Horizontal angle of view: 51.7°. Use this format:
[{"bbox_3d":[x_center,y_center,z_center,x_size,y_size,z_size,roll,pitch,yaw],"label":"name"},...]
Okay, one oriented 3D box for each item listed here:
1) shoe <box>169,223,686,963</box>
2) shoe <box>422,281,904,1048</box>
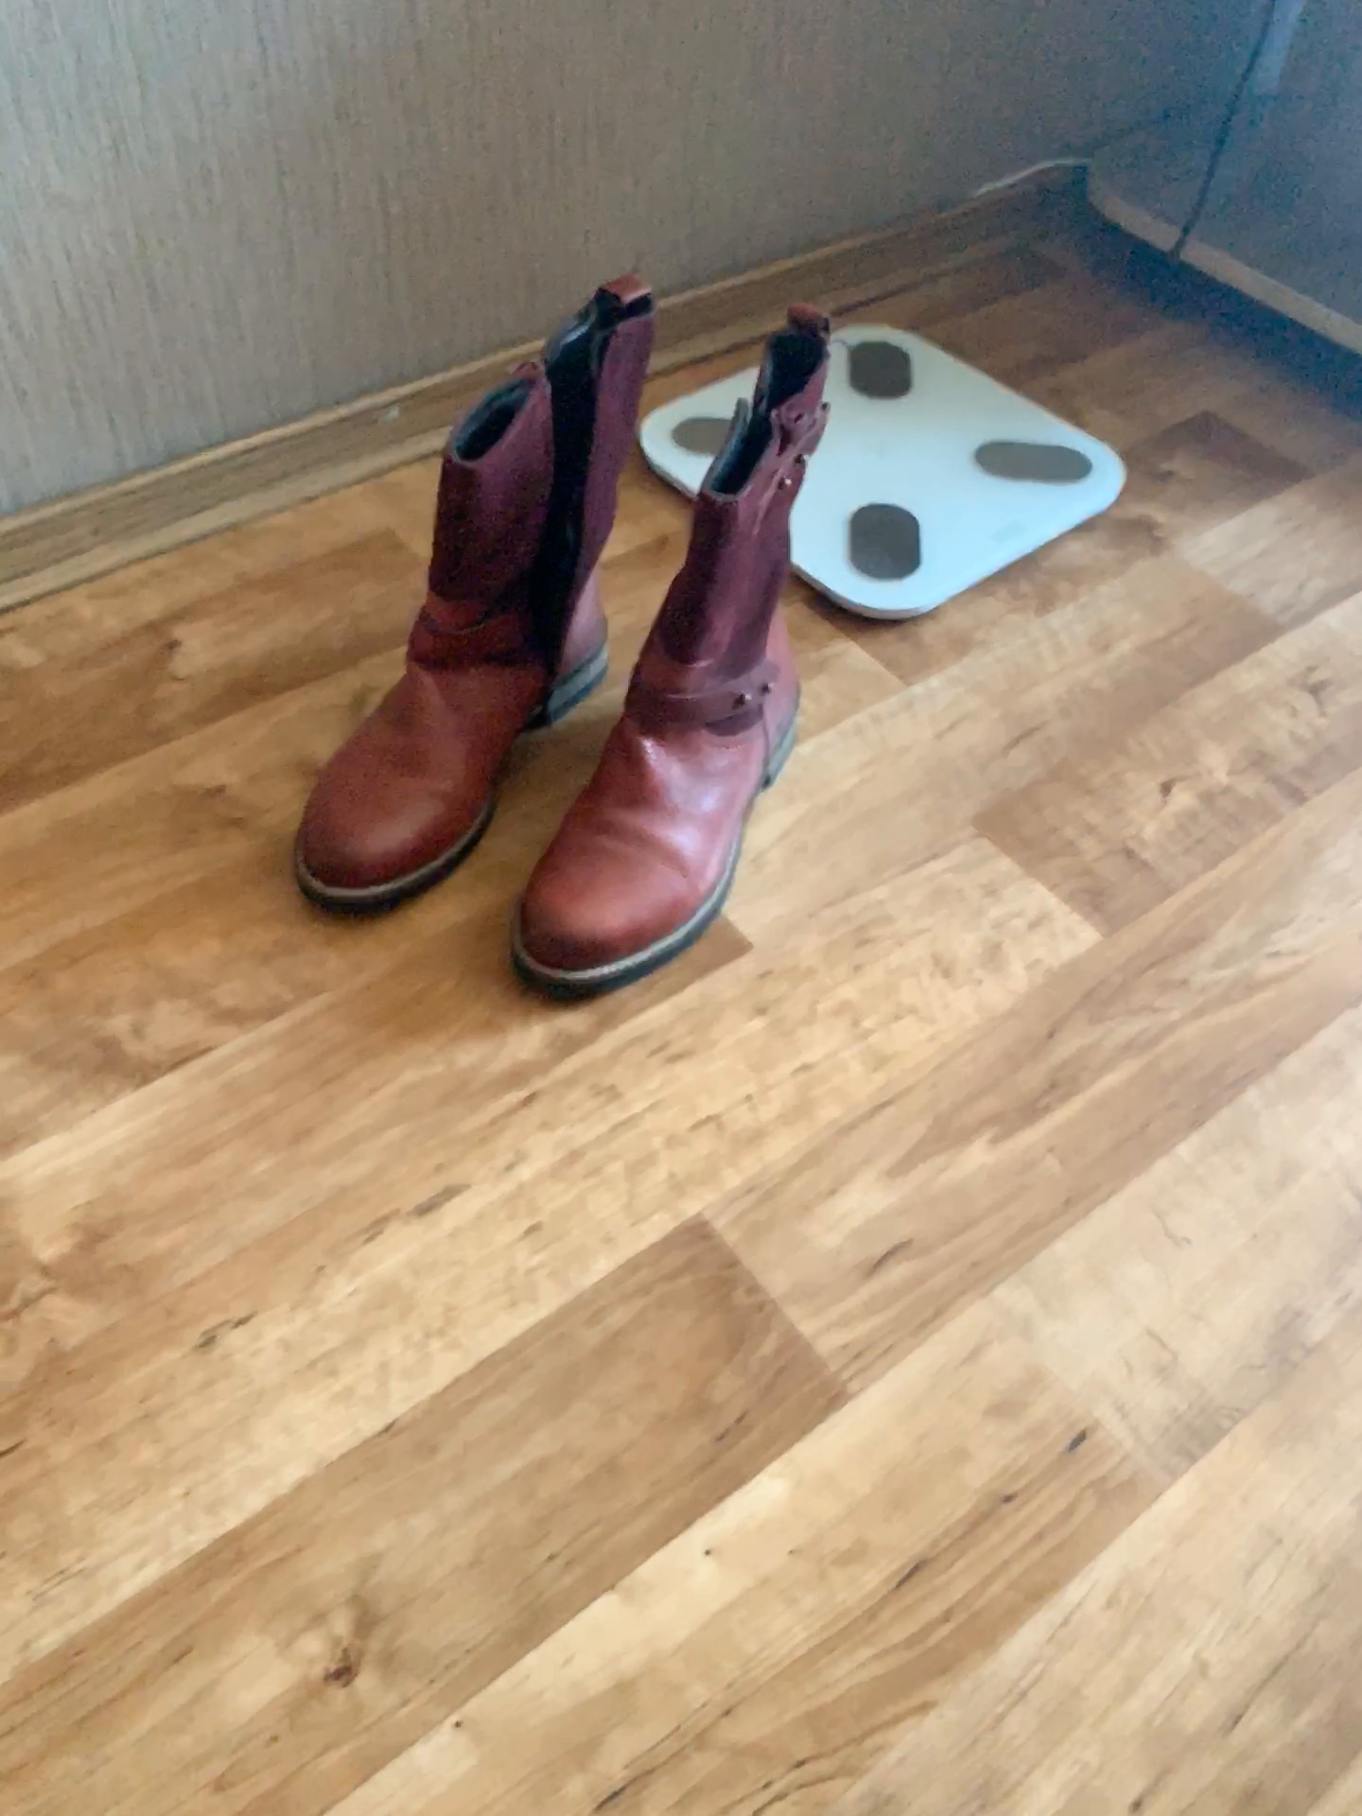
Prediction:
[{"bbox_3d":[-0.103,-0.155,0.700,0.100,0.249,0.251,22,52,15],"label":"shoe"},{"bbox_3d":[-0.002,-0.112,0.653,0.090,0.239,0.251,22,52,15],"label":"shoe"}]
